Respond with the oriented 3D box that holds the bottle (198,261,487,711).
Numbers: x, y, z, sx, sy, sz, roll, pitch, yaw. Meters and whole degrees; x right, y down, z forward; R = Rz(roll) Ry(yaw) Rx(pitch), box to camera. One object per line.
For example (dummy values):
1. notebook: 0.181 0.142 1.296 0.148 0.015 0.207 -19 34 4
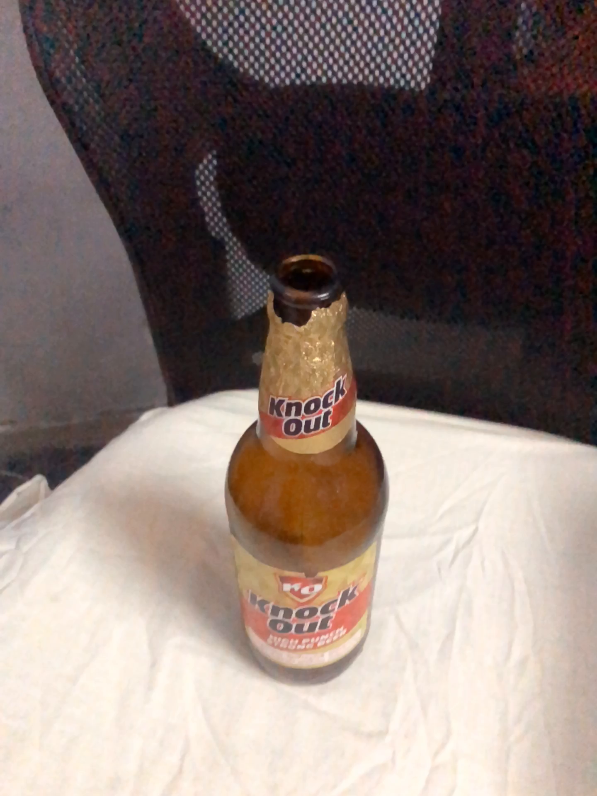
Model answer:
1. bottle: 0.009 0.063 0.299 0.080 0.249 0.070 0 48 -2
